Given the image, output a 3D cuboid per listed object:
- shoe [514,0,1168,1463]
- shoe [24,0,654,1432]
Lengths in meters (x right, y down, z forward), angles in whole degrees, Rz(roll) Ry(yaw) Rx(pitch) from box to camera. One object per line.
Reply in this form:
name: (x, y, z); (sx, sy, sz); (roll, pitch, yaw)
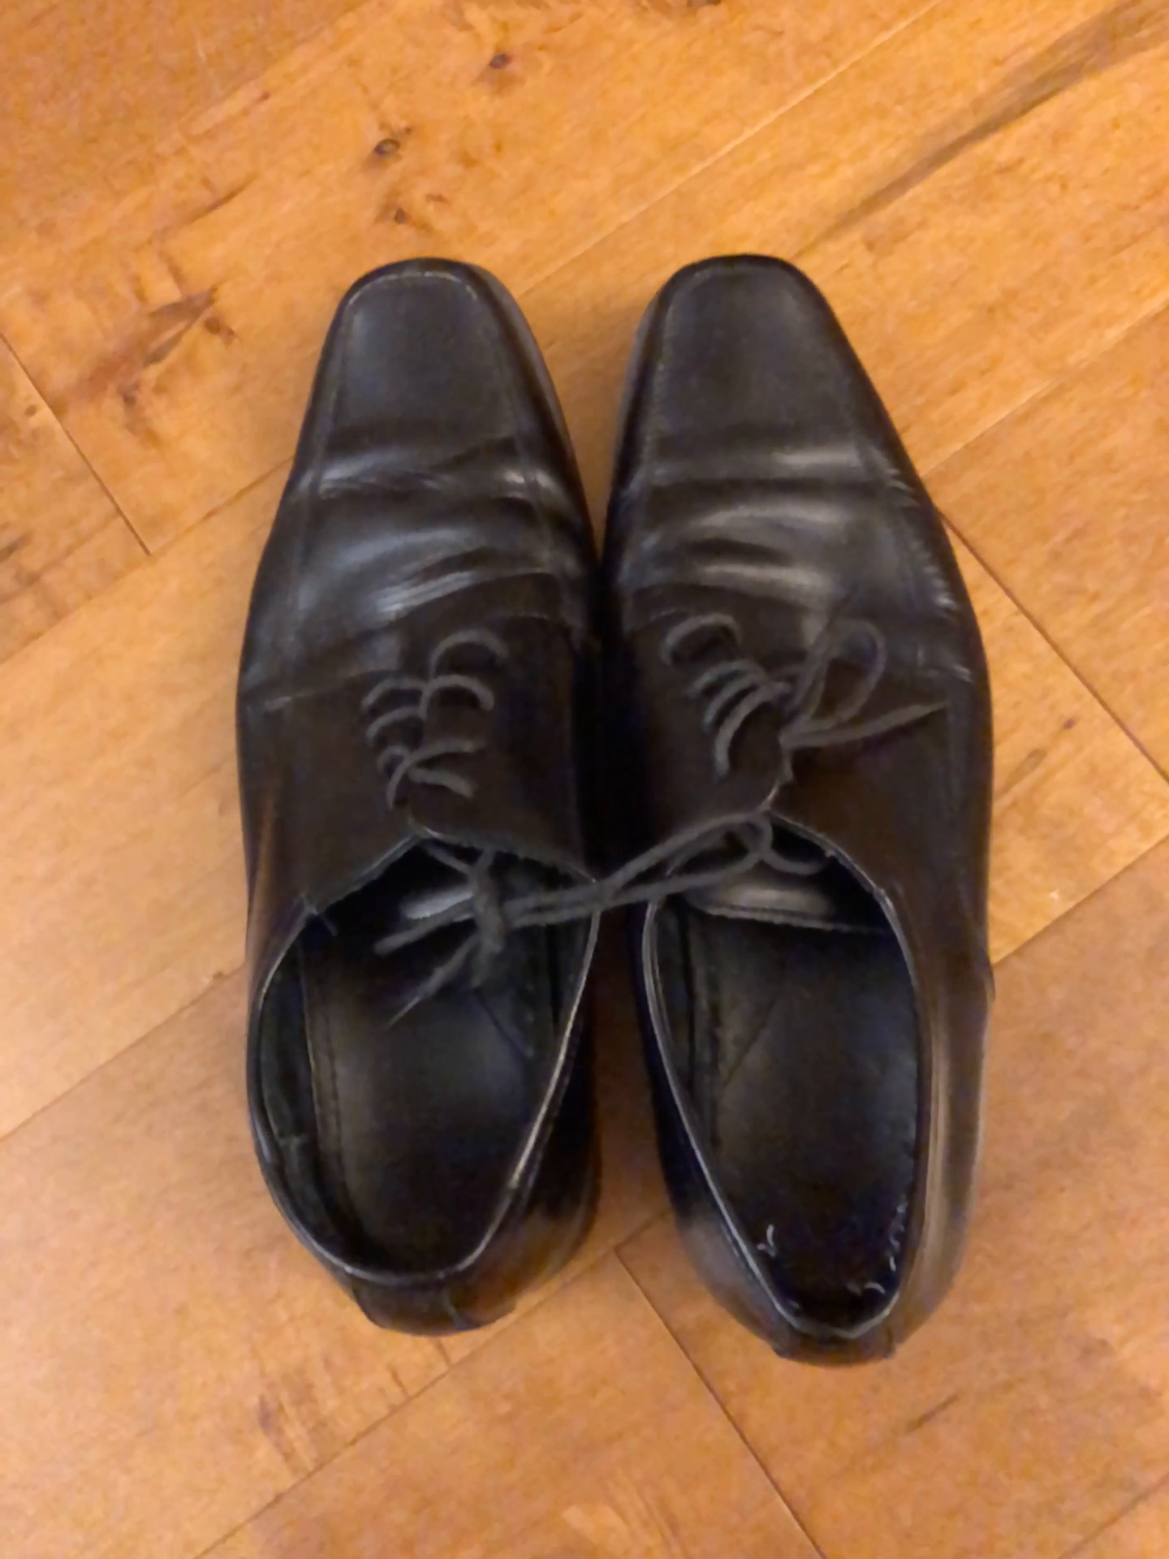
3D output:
shoe: (0.053, -0.021, 0.319); (0.110, 0.130, 0.310); (-4, 78, 6)
shoe: (-0.049, -0.020, 0.332); (0.110, 0.130, 0.310); (-4, 78, 6)
